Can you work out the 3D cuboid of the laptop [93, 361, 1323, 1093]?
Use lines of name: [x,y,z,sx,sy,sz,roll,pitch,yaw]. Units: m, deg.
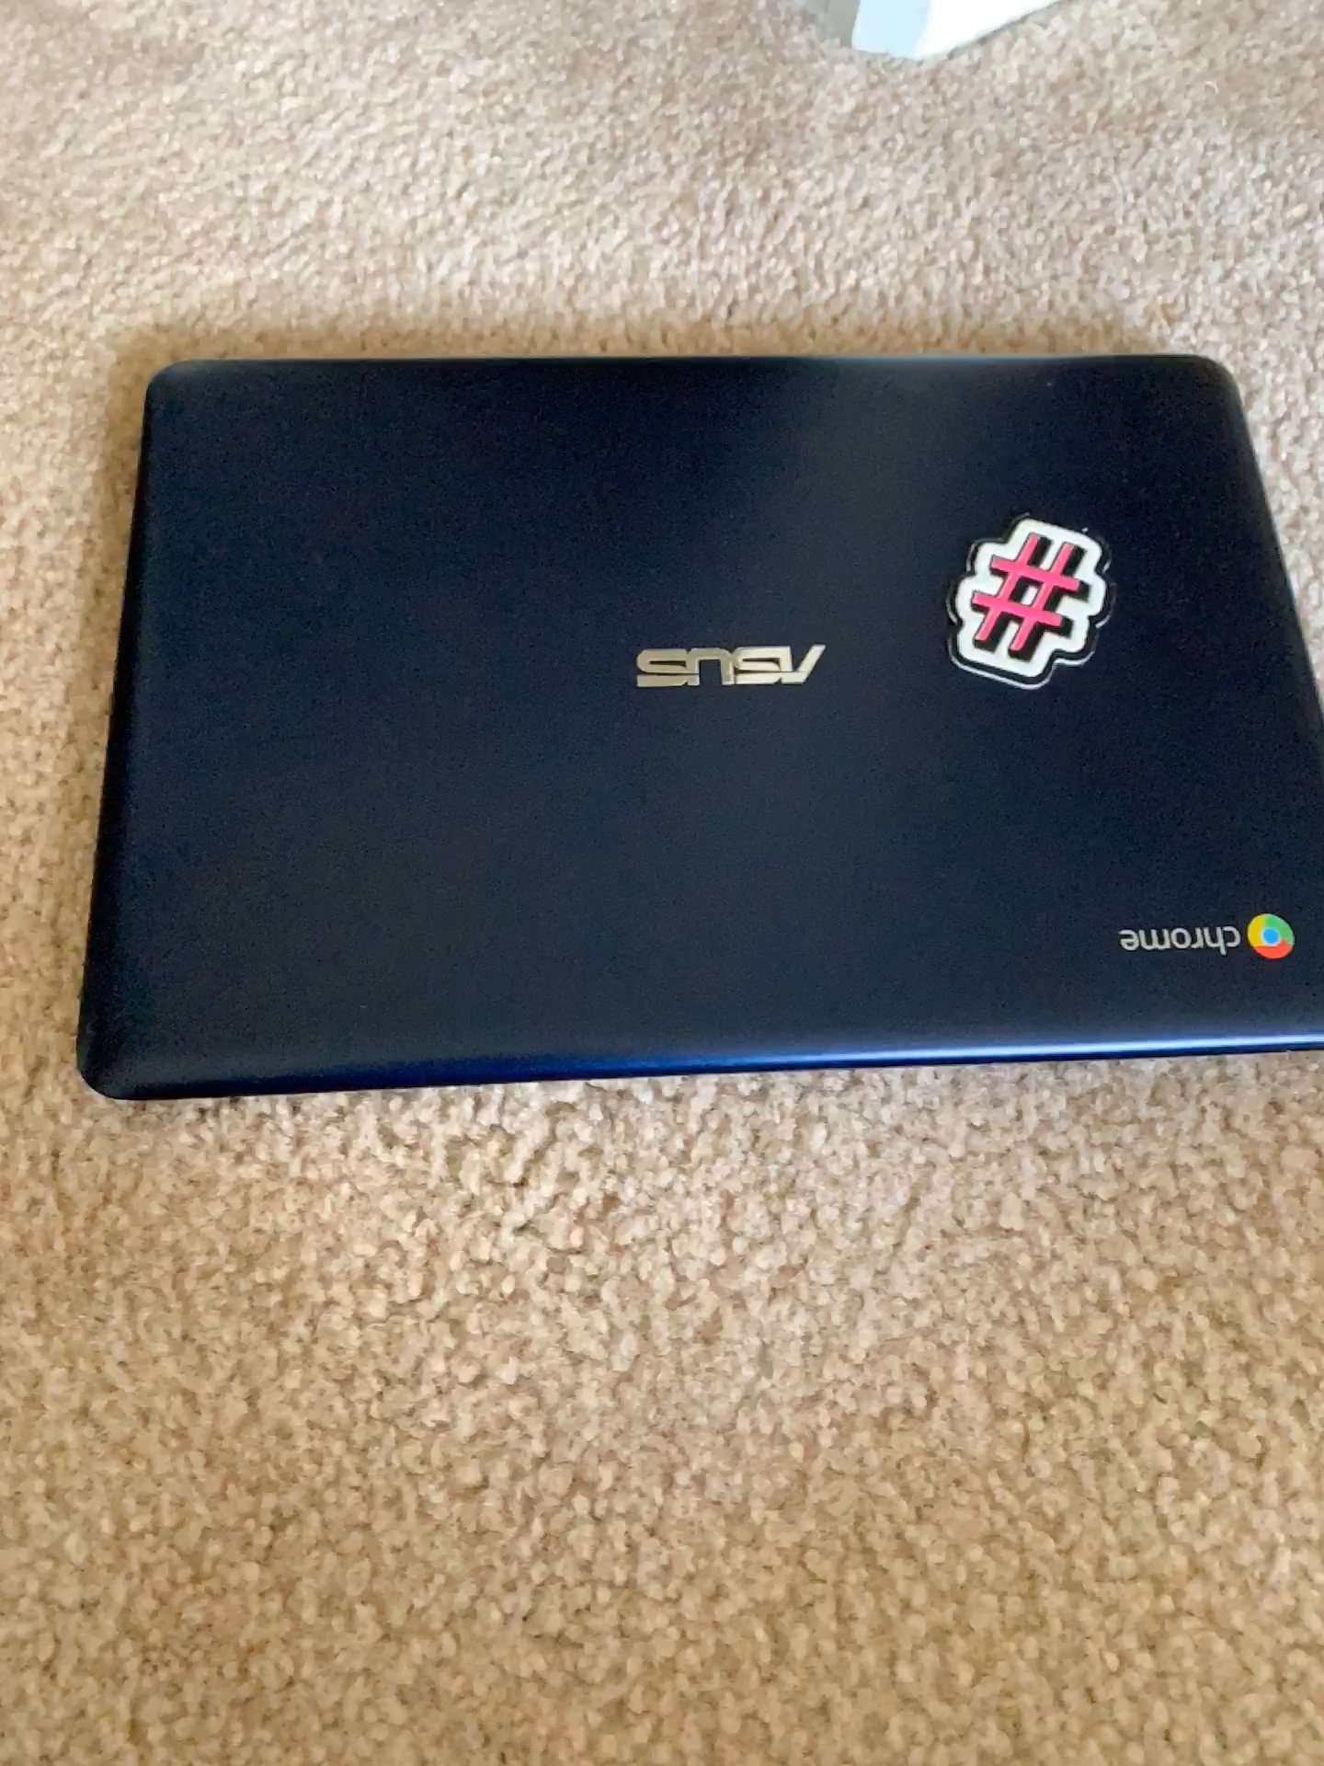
laptop: [0.015,-0.047,0.320,0.271,0.006,0.182,-2,69,-4]
